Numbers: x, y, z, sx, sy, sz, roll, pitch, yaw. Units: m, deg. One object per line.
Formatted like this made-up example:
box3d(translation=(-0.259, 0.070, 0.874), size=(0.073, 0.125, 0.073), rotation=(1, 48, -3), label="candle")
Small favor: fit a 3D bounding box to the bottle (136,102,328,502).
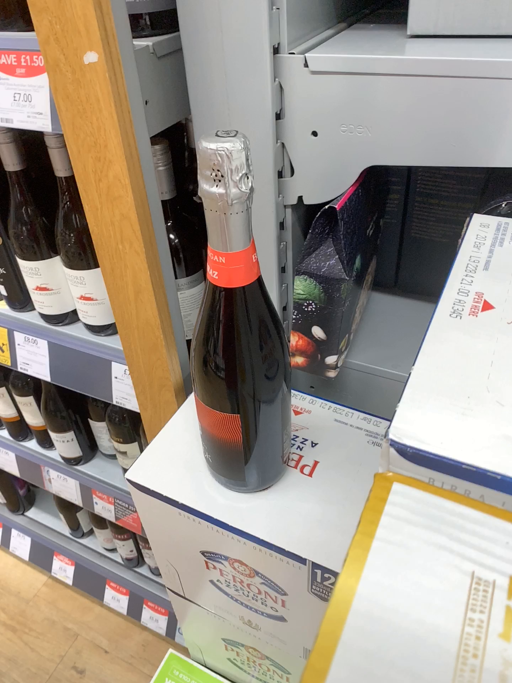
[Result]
box3d(translation=(-0.010, -0.012, 0.403), size=(0.094, 0.289, 0.091), rotation=(-3, 39, 2), label="bottle")
